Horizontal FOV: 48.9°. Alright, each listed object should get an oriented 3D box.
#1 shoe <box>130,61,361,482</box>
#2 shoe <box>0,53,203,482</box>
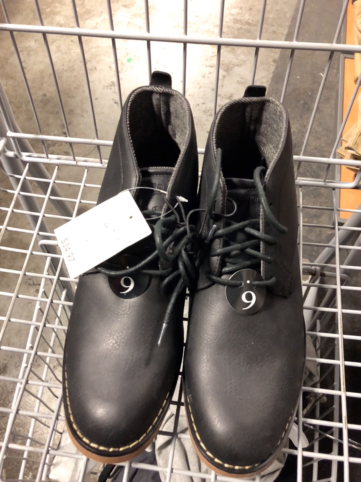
[{"bbox_3d":[0.047,0.035,0.319,0.100,0.199,0.271,6,61,4],"label":"shoe"},{"bbox_3d":[-0.049,0.028,0.314,0.100,0.199,0.261,6,61,4],"label":"shoe"}]
